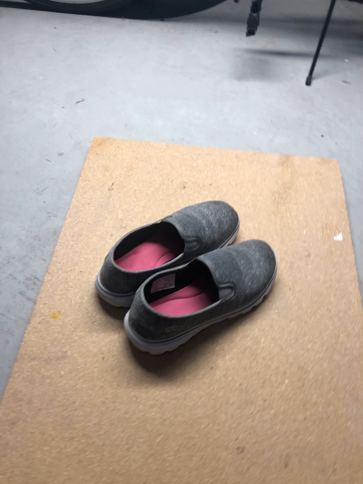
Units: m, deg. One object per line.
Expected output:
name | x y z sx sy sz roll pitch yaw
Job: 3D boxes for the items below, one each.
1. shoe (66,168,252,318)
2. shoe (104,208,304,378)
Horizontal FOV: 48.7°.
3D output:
shoe | -0.028 -0.006 0.600 0.250 0.073 0.100 -29 60 -21
shoe | 0.033 0.061 0.548 0.250 0.070 0.100 -29 60 -21
